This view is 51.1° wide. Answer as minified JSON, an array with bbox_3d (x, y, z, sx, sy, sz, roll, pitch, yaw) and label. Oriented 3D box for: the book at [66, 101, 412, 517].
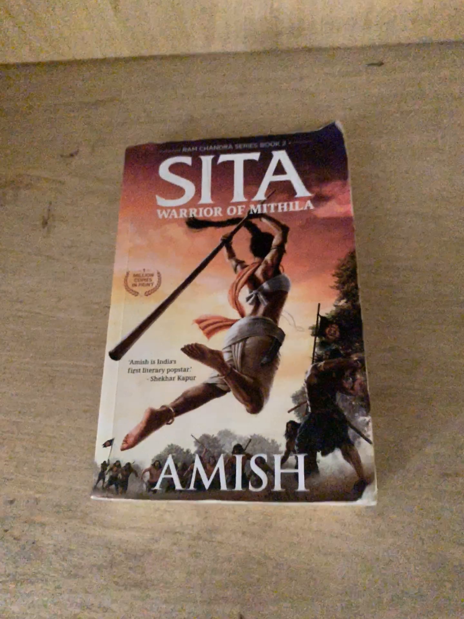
[{"bbox_3d":[0.003,-0.008,0.243,0.140,0.030,0.201,-2,69,8],"label":"book"}]
